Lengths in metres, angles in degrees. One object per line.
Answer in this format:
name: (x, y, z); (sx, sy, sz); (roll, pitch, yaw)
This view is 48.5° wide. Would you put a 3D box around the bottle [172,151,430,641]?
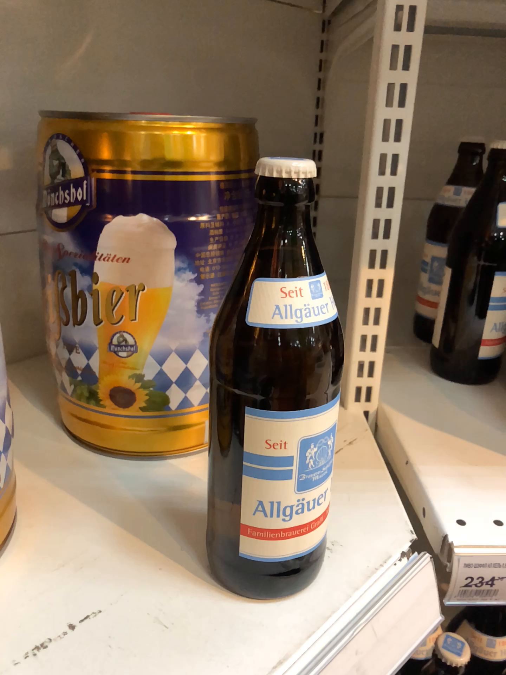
bottle: (0.018, 0.024, 0.285); (0.080, 0.219, 0.080); (2, 21, -1)
